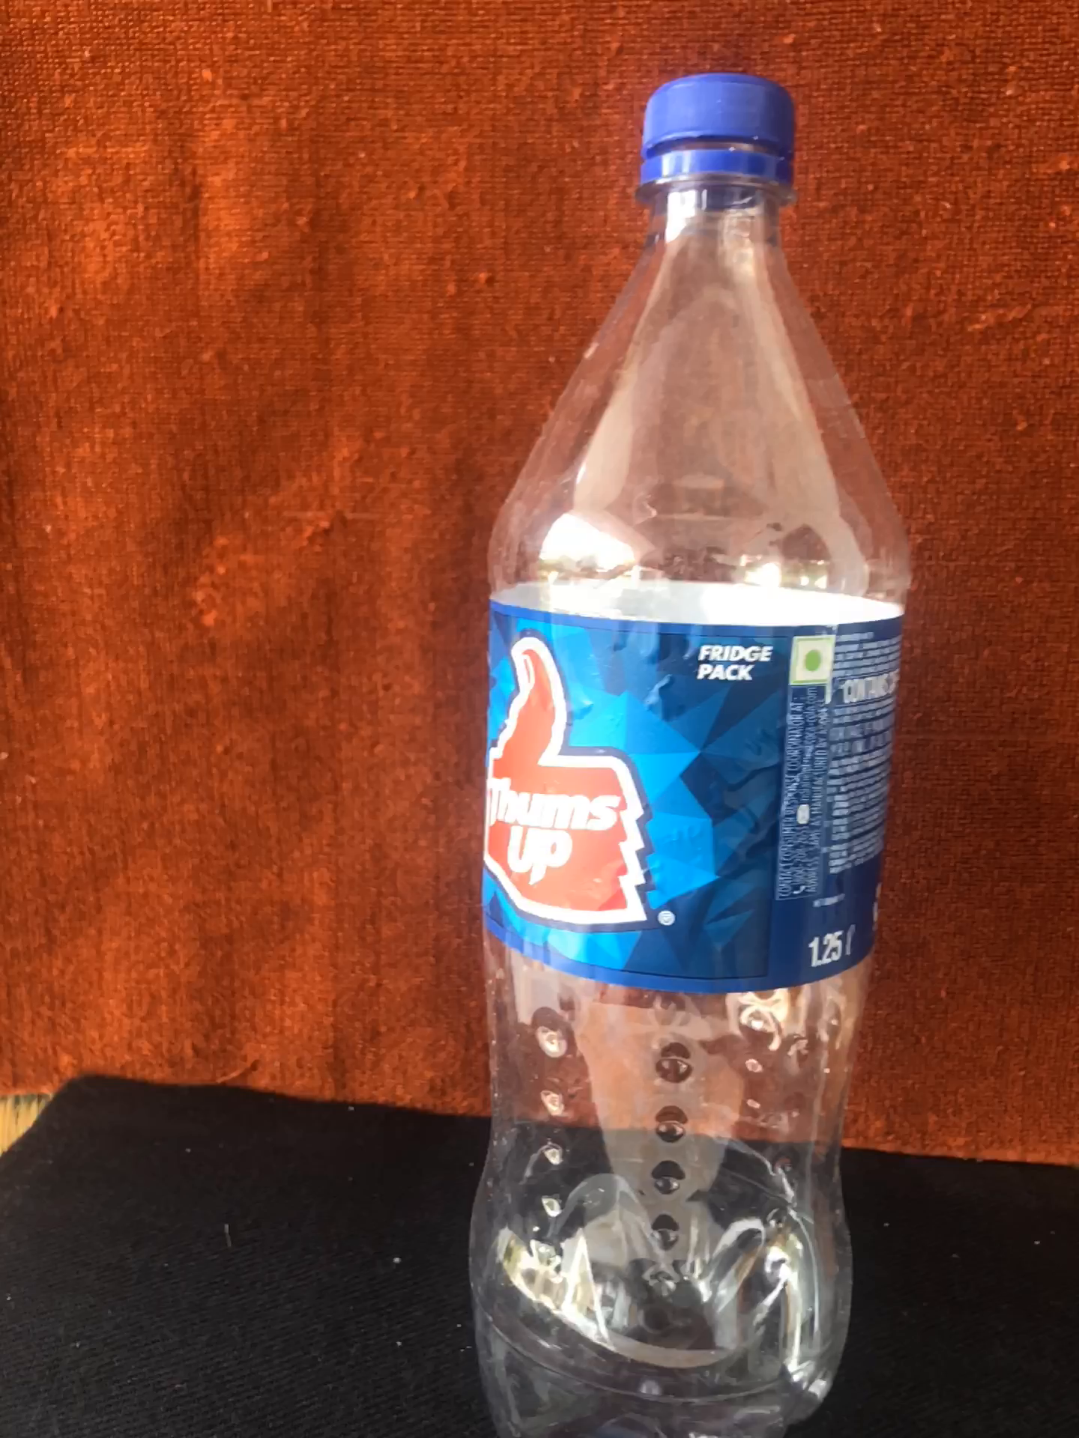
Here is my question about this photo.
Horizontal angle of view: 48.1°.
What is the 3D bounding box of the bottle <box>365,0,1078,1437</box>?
[{"bbox_3d":[0.033,0.008,0.247,0.090,0.289,0.100,-9,17,-41],"label":"bottle"}]
